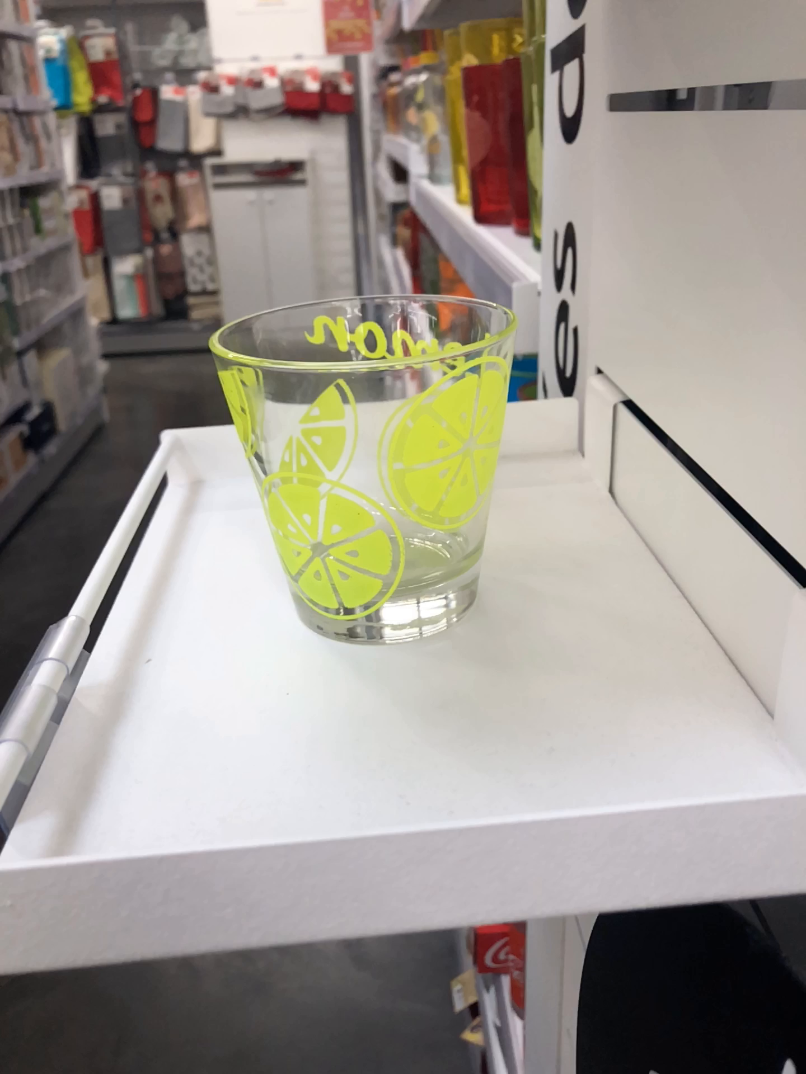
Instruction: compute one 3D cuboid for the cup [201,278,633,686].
[{"bbox_3d":[0.001,-0.023,0.247,0.084,0.075,0.080,-2,25,1],"label":"cup"}]
